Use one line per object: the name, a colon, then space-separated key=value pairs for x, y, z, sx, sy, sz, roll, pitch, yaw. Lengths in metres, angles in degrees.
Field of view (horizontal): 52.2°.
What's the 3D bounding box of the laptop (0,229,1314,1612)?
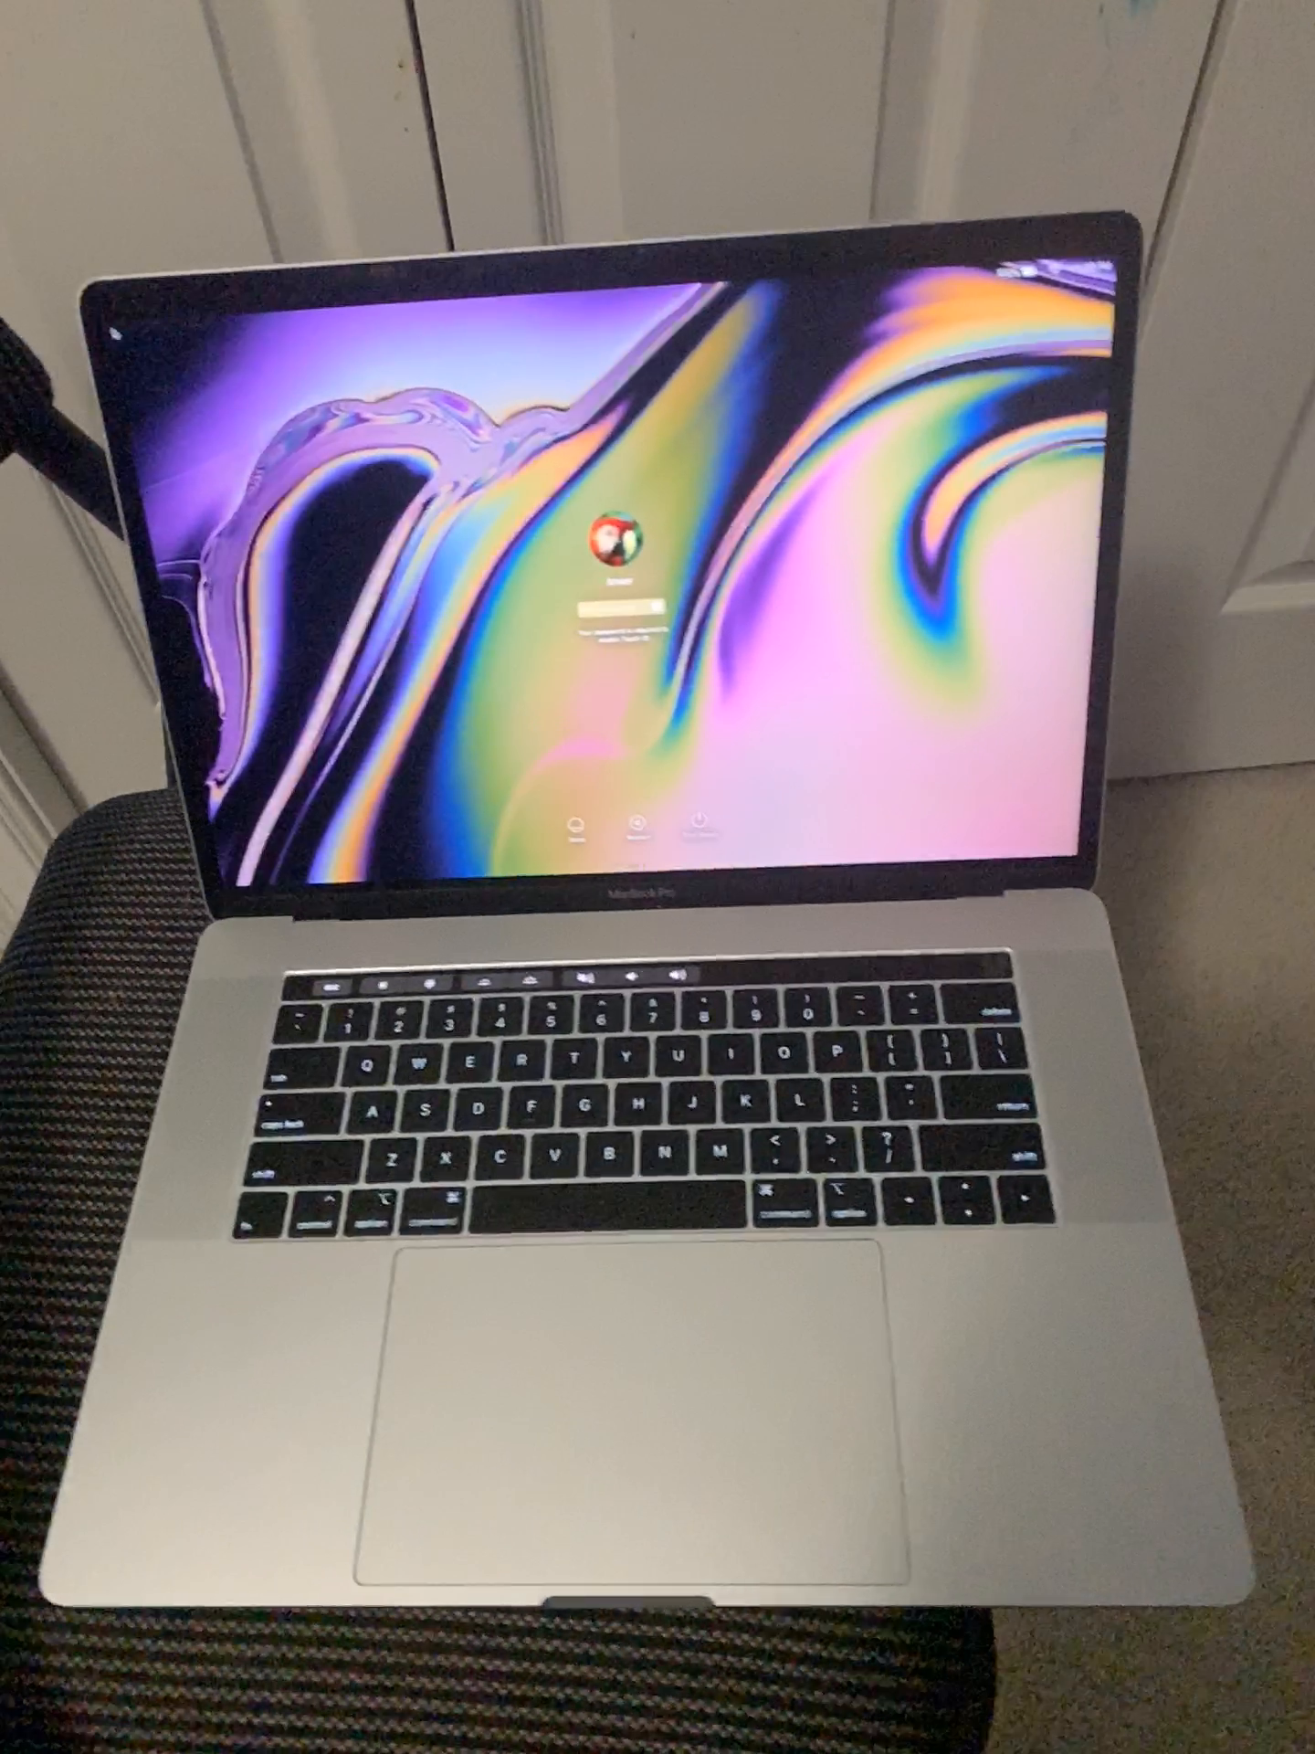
laptop: x=-0.026 y=0.005 z=0.399 sx=0.342 sy=0.195 sz=0.353 roll=-2 pitch=54 yaw=3
